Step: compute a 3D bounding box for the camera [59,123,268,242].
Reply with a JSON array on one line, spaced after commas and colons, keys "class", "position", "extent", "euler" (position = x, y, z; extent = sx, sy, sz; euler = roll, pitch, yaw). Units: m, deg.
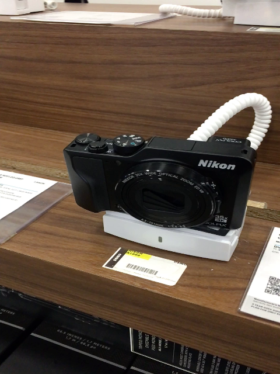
[{"class": "camera", "position": [0.018, -0.004, 0.273], "extent": [0.131, 0.074, 0.035], "euler": [7, 43, 14]}]
